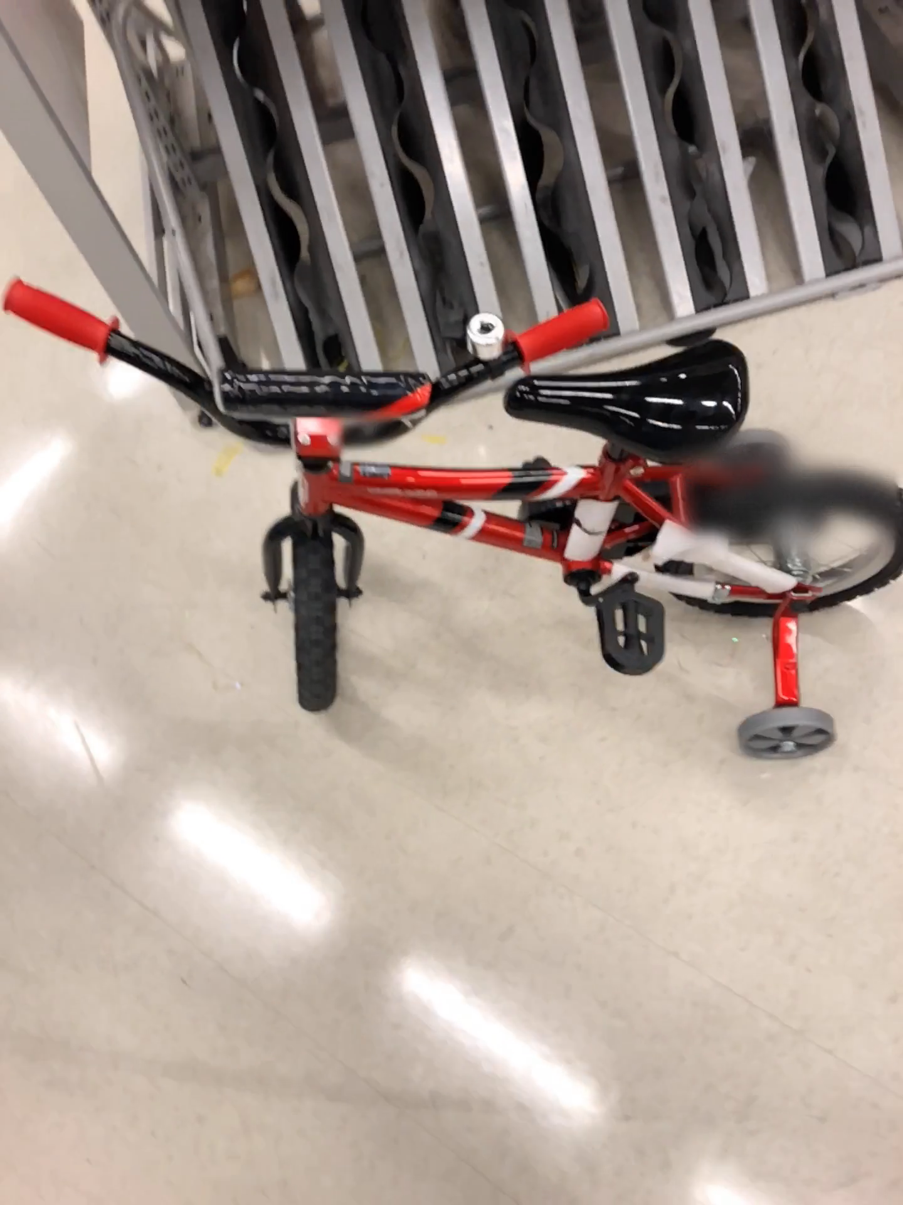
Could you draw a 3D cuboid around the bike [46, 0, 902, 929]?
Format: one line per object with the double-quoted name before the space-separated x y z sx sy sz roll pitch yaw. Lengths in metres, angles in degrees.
"bike" 0.143 -0.099 0.967 0.698 0.679 0.533 -13 59 4
